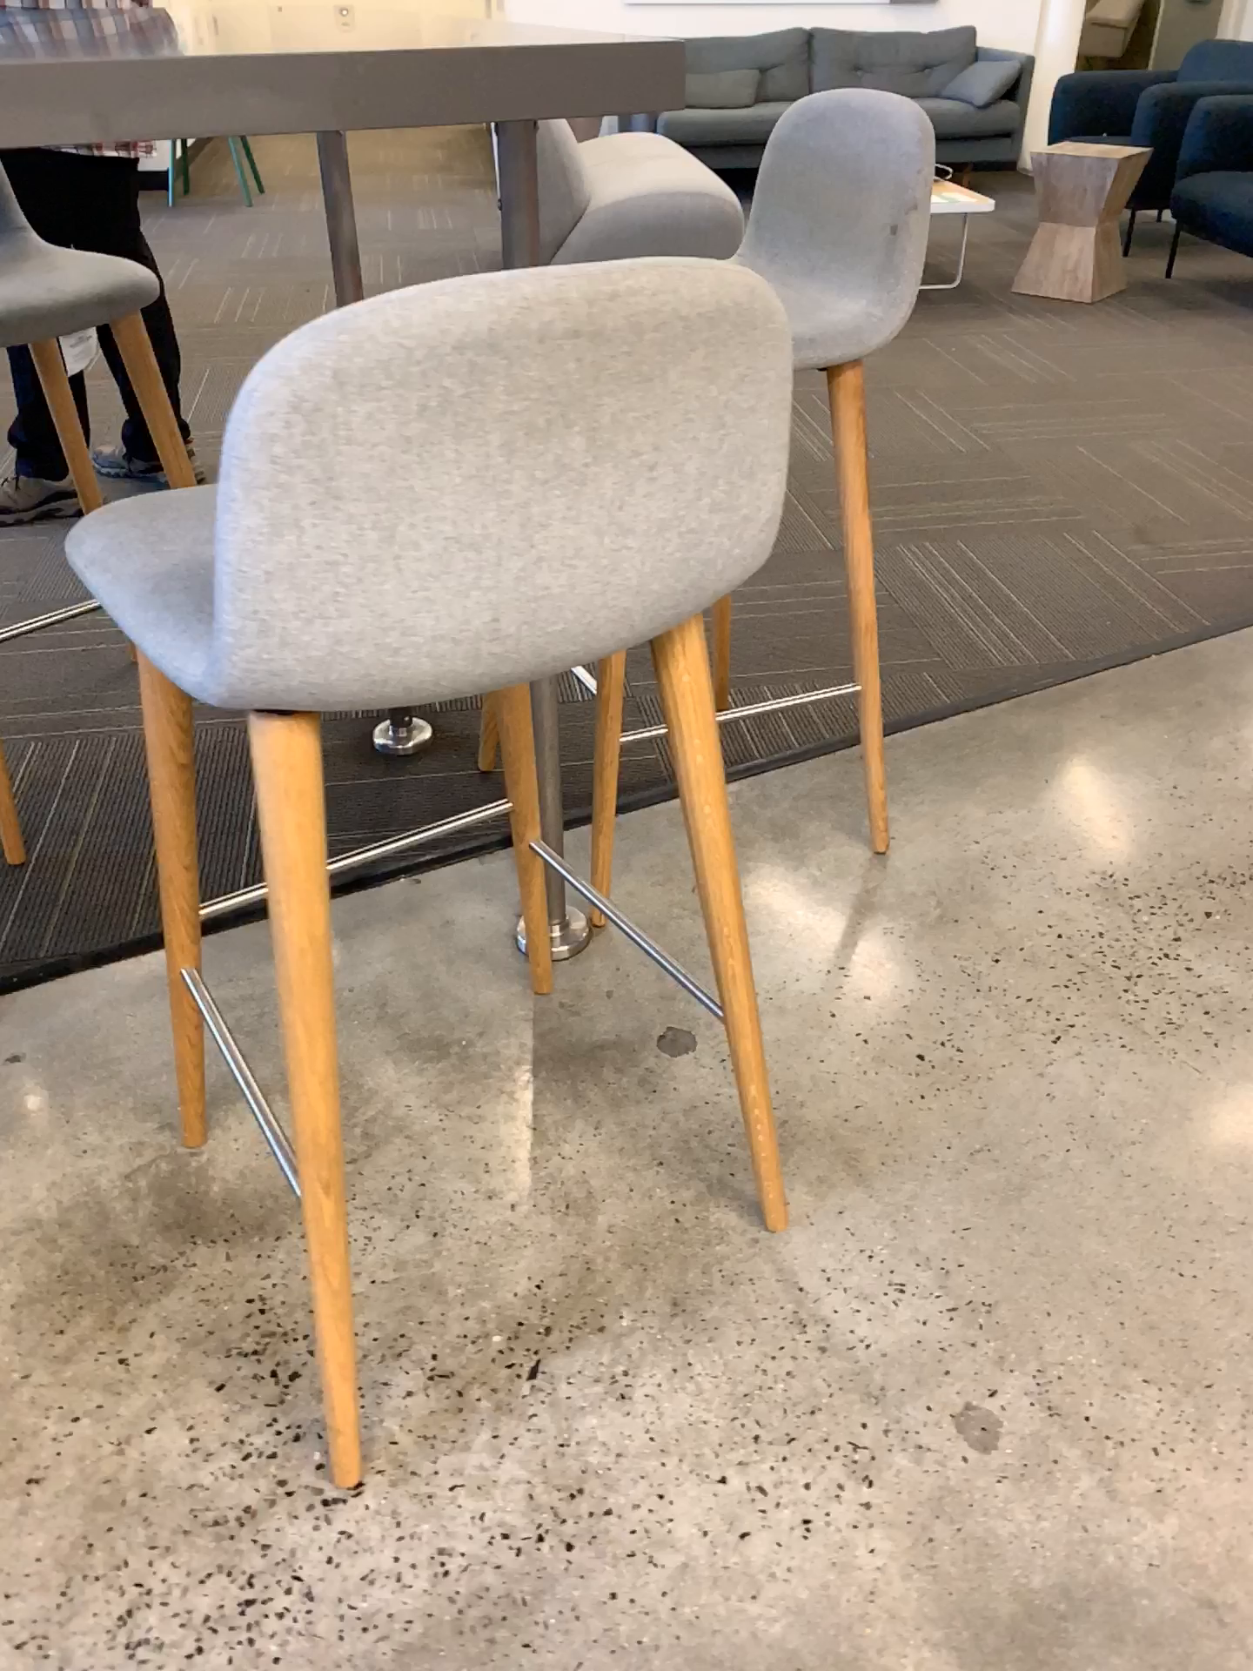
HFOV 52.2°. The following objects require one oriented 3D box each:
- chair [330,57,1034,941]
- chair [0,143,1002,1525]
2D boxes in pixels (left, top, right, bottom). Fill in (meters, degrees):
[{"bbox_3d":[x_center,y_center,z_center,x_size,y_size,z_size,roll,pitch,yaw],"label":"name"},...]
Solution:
[{"bbox_3d":[-0.008,-0.573,1.932,0.580,0.974,0.966,-12,36,-18],"label":"chair"},{"bbox_3d":[-0.156,-0.039,1.107,0.550,0.914,0.573,-19,38,-26],"label":"chair"}]
